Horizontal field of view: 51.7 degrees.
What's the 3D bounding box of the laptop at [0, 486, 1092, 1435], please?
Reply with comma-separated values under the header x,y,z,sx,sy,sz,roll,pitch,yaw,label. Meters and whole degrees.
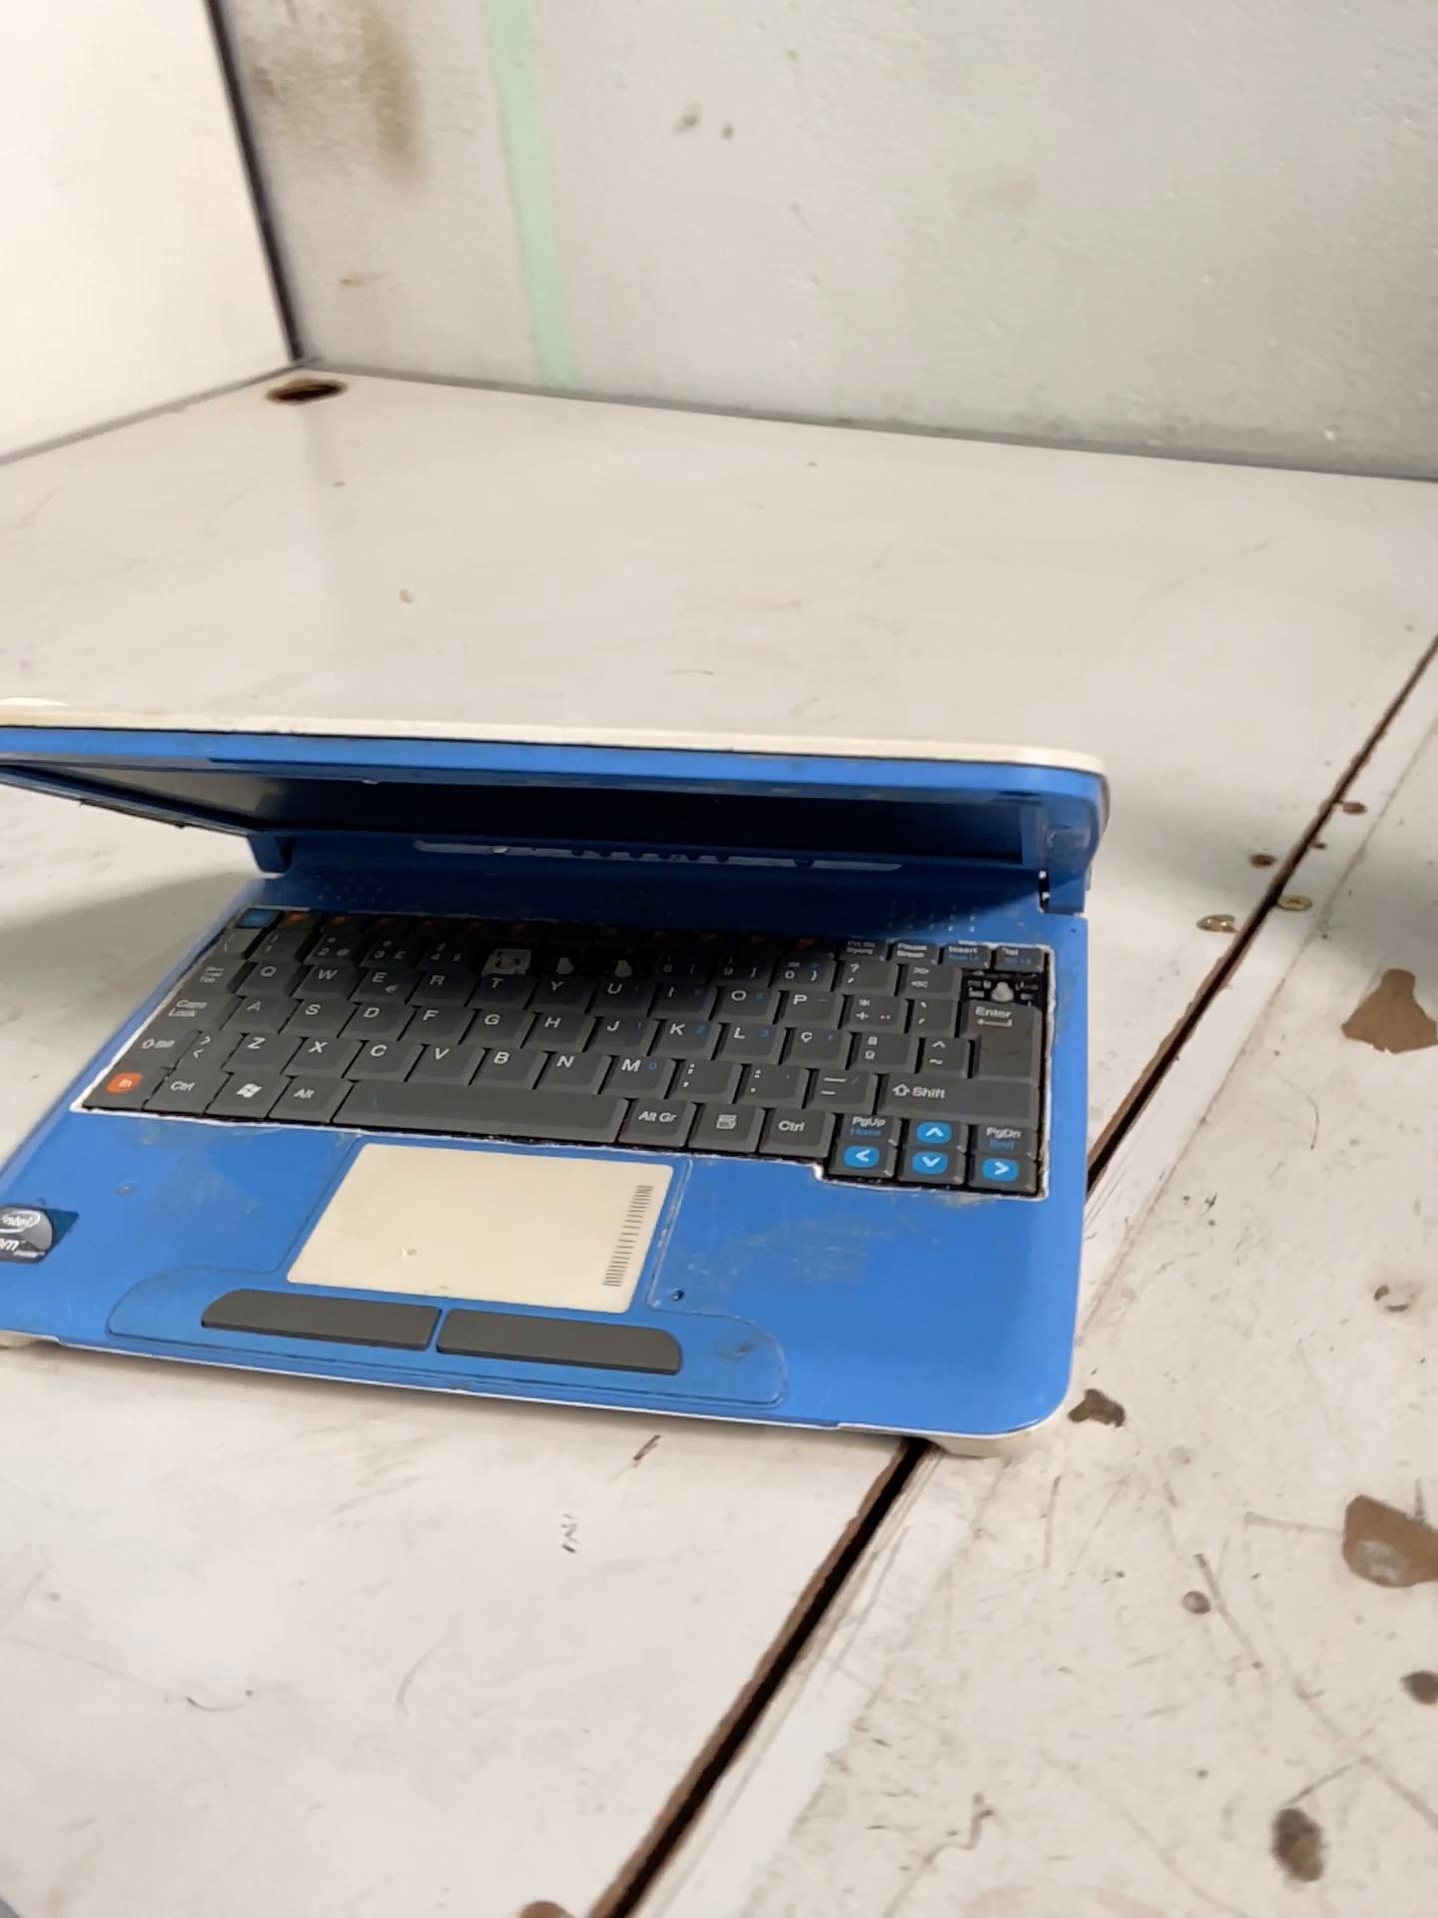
x,y,z,sx,sy,sz,roll,pitch,yaw,label
-0.045,-0.020,0.339,0.247,0.116,0.183,3,35,14,laptop
